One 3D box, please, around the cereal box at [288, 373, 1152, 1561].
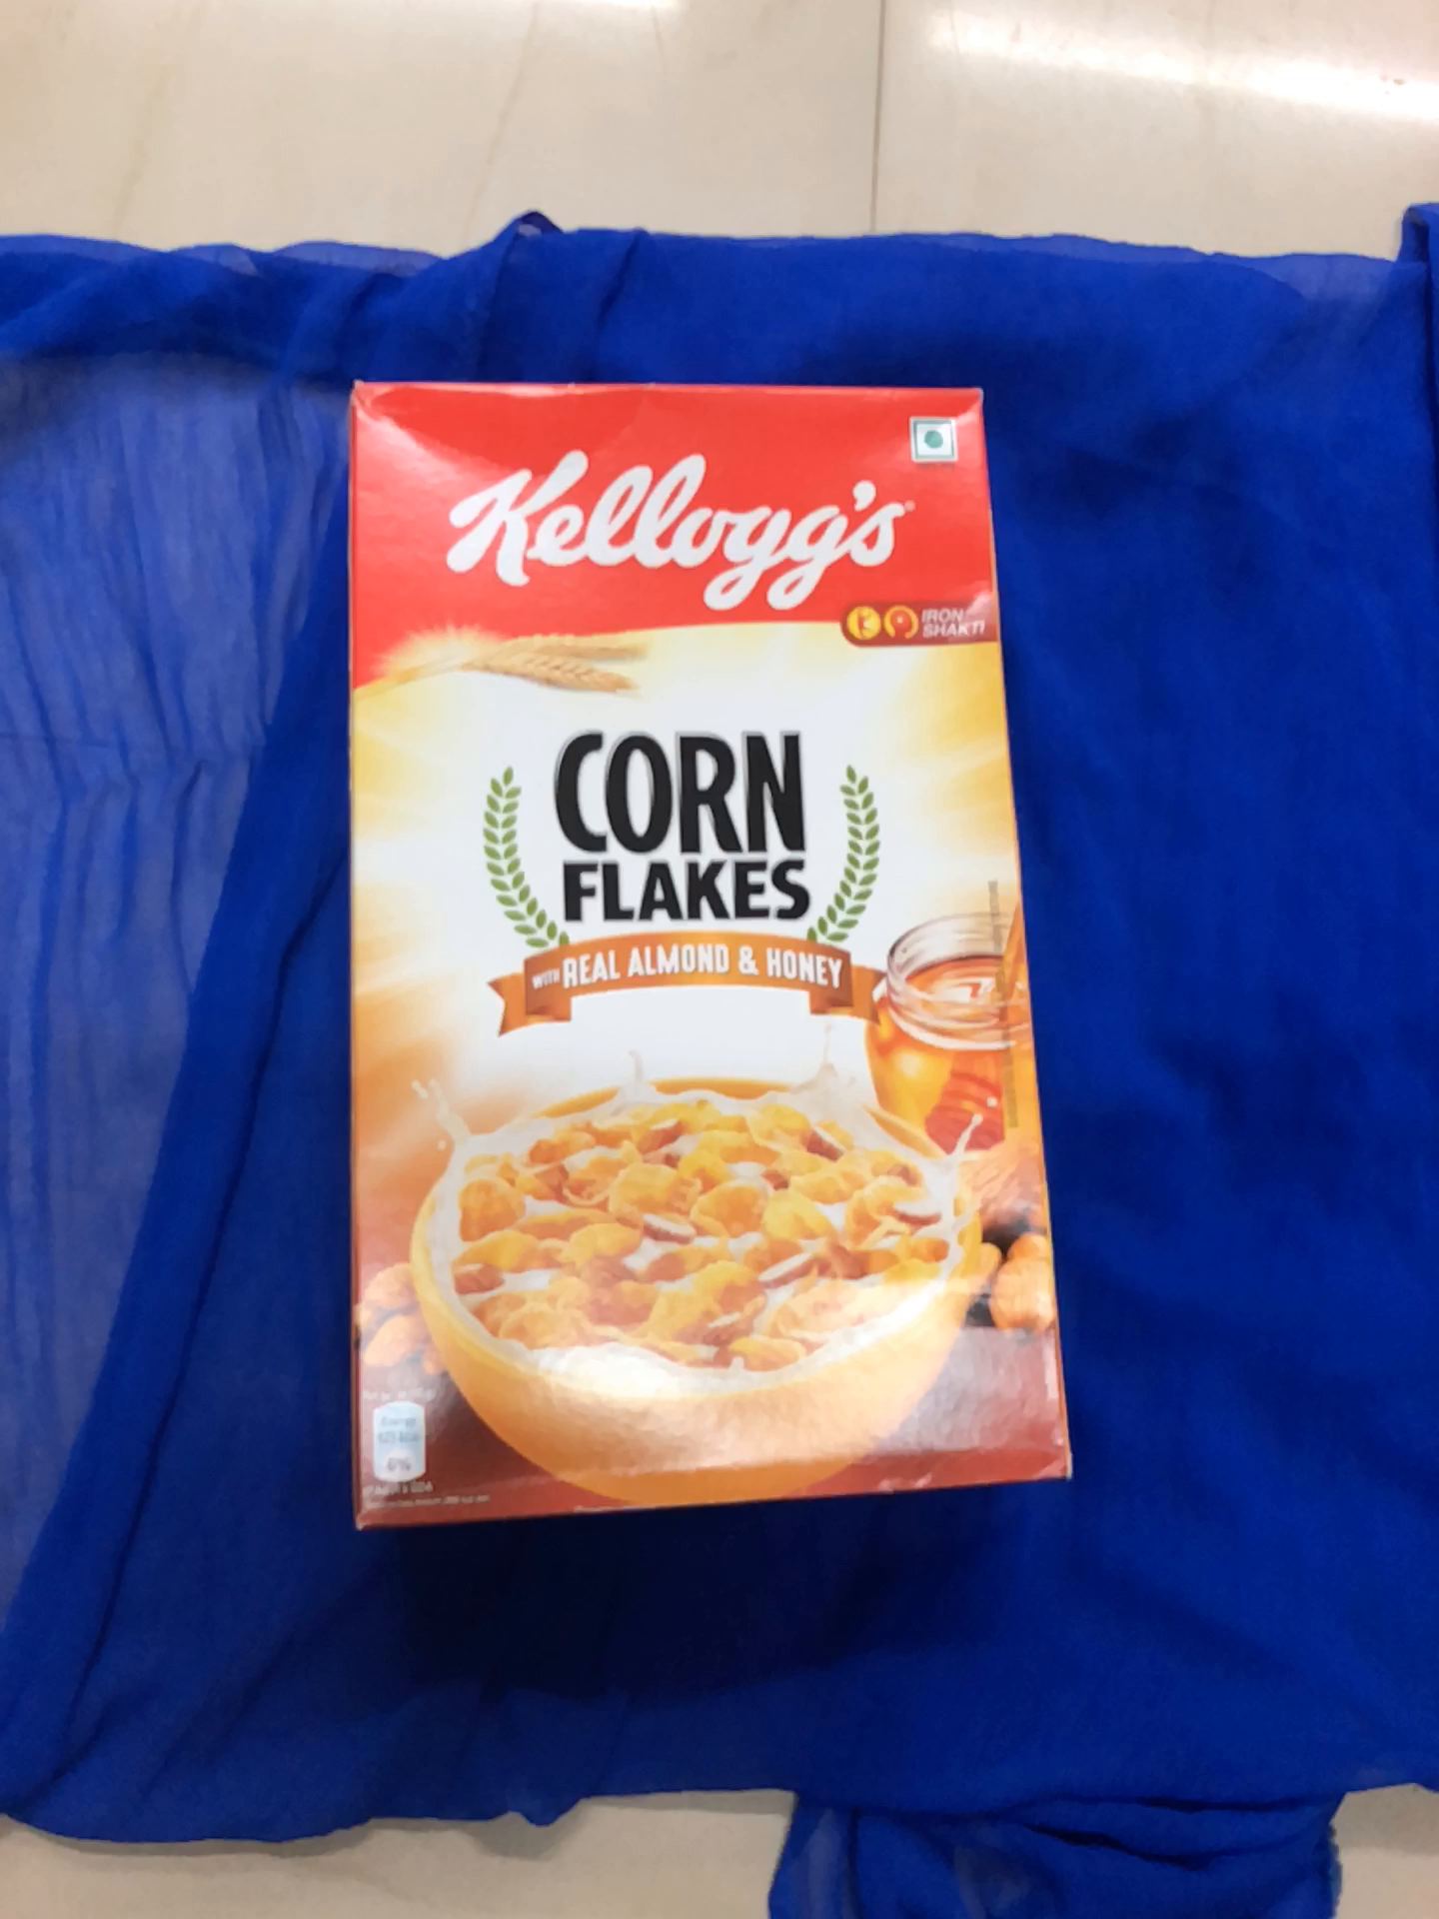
[{"bbox_3d":[-0.008,-0.002,0.456,0.210,0.090,0.300,-1,80,-7],"label":"cereal box"}]
